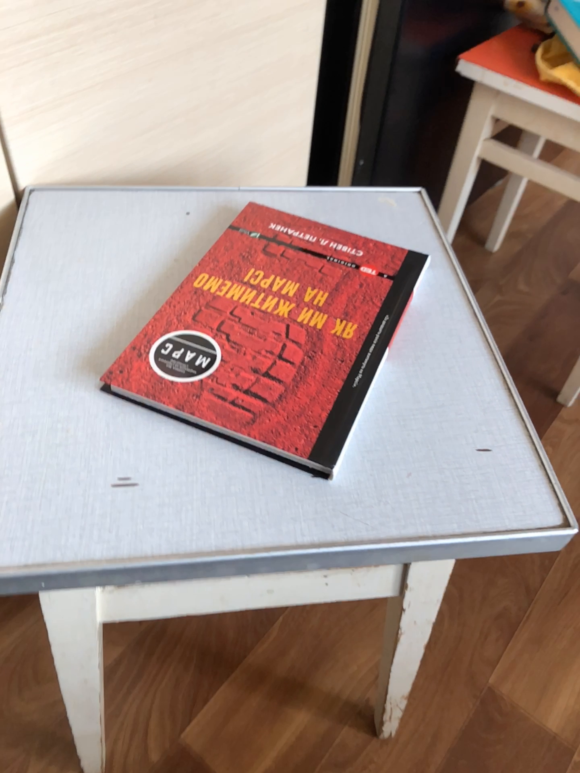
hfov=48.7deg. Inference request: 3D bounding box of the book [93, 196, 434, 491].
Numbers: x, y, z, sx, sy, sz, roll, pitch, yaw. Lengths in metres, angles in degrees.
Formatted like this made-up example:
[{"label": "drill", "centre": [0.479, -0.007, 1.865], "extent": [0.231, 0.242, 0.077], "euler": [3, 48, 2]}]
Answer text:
[{"label": "book", "centre": [-0.004, -0.046, 0.424], "extent": [0.150, 0.020, 0.209], "euler": [20, 50, 11]}]
